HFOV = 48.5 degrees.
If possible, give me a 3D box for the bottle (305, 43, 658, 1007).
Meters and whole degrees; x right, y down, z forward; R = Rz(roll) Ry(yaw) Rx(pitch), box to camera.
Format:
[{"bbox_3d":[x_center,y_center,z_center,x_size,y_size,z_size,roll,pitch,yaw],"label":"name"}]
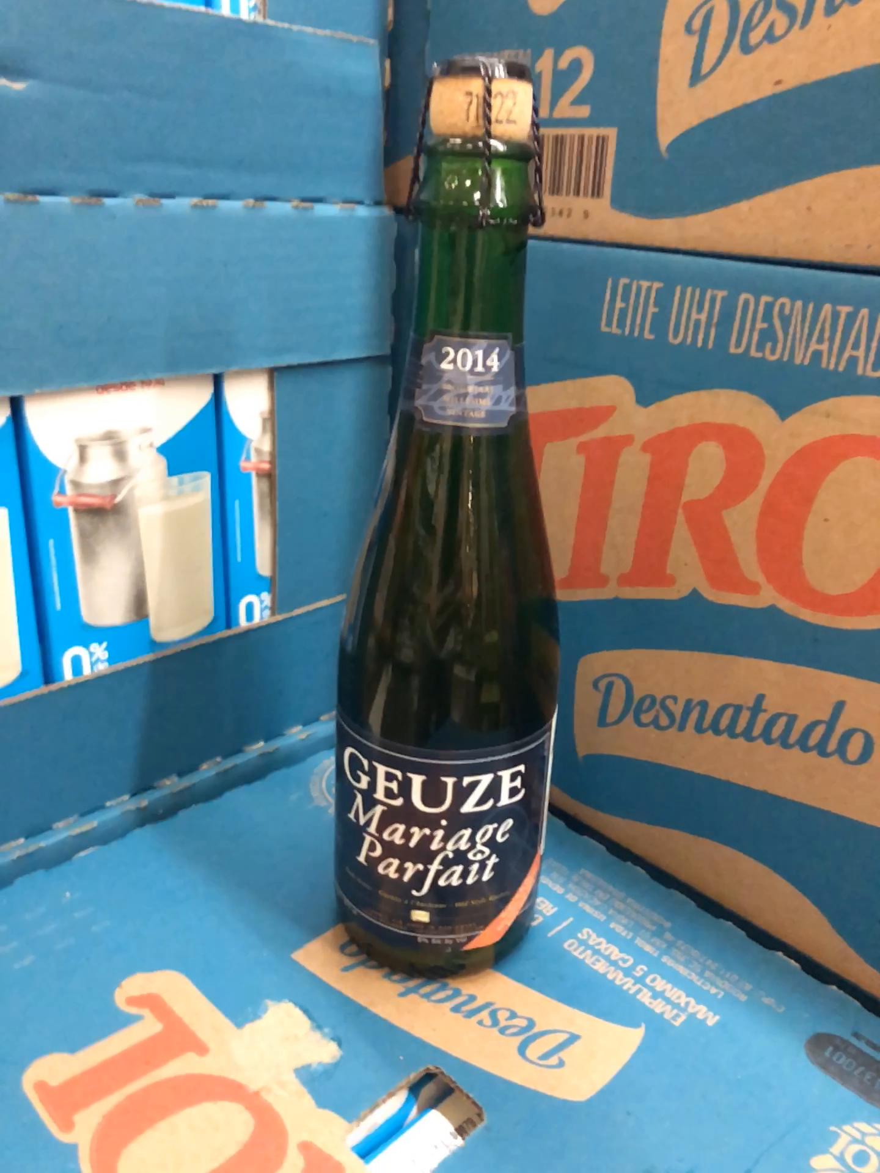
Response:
[{"bbox_3d":[0.004,-0.005,0.283,0.070,0.258,0.060,6,22,3],"label":"bottle"}]
